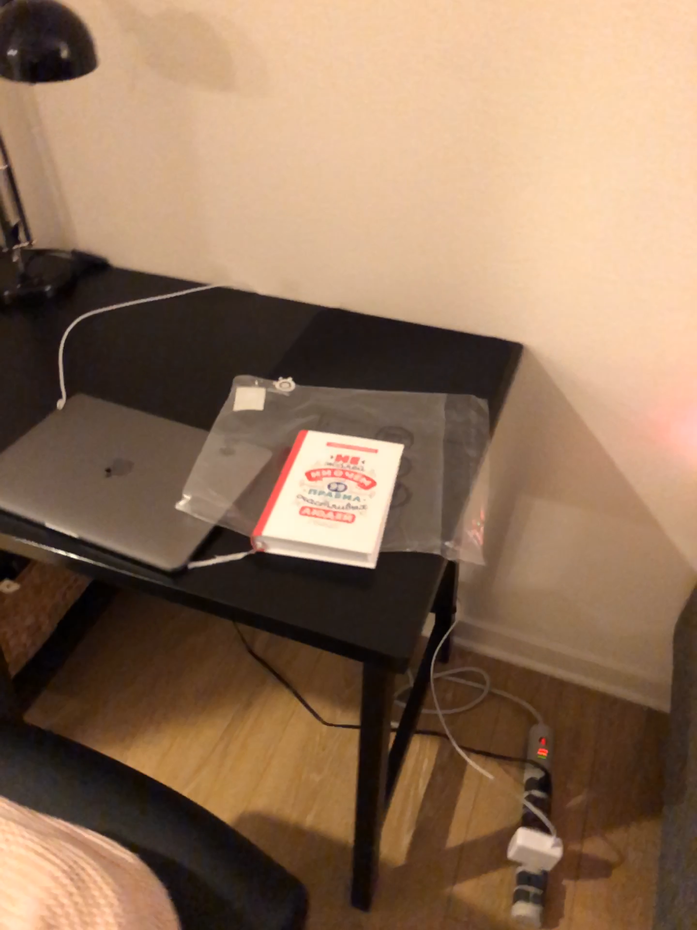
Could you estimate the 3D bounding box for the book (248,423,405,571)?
[{"bbox_3d":[-0.019,0.030,0.873,0.140,0.030,0.191,8,41,8],"label":"book"}]
